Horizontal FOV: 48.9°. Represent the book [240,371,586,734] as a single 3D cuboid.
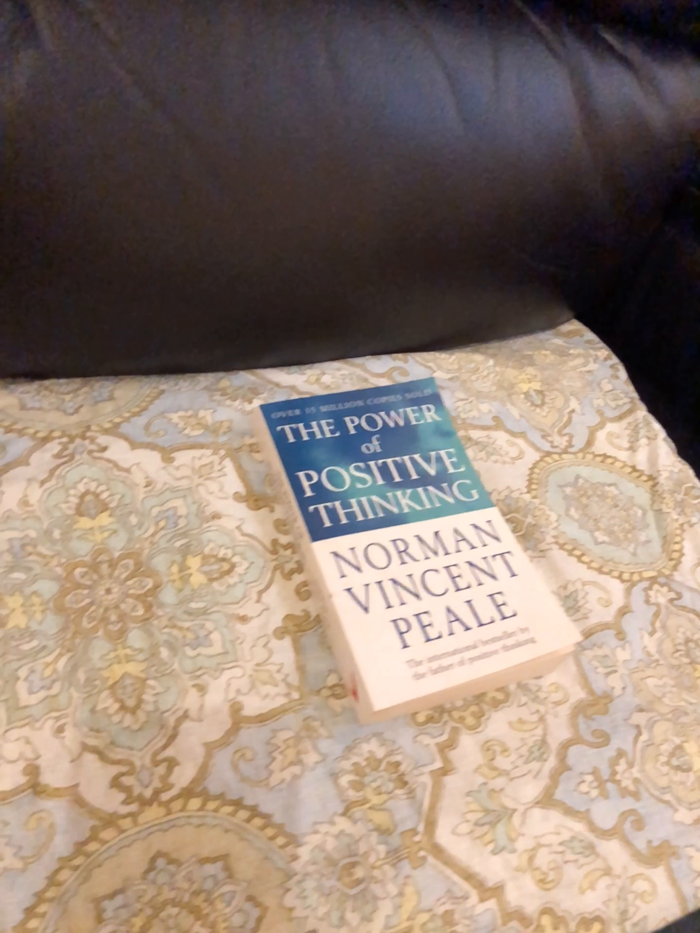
[{"bbox_3d":[0.028,0.033,0.416,0.120,0.030,0.183,-10,59,-25],"label":"book"}]
